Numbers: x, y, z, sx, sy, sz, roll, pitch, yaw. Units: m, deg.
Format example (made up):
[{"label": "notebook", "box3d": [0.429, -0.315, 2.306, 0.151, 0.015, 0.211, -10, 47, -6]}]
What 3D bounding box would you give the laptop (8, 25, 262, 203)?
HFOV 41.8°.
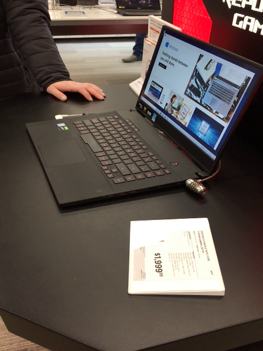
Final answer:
[{"label": "laptop", "box3d": [-0.017, -0.148, 0.683, 0.350, 0.211, 0.339, -12, 38, -17]}]
